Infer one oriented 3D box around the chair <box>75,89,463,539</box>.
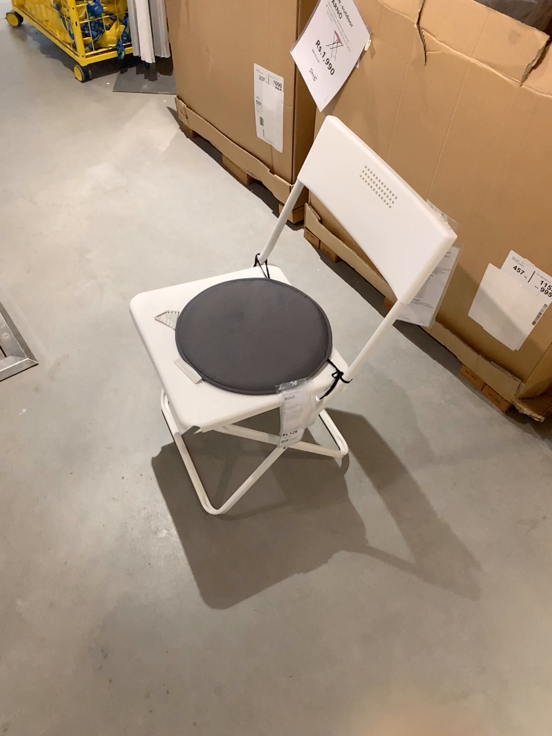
[{"bbox_3d":[-0.054,-0.084,1.212,0.480,0.738,0.491,-18,55,-18],"label":"chair"}]
